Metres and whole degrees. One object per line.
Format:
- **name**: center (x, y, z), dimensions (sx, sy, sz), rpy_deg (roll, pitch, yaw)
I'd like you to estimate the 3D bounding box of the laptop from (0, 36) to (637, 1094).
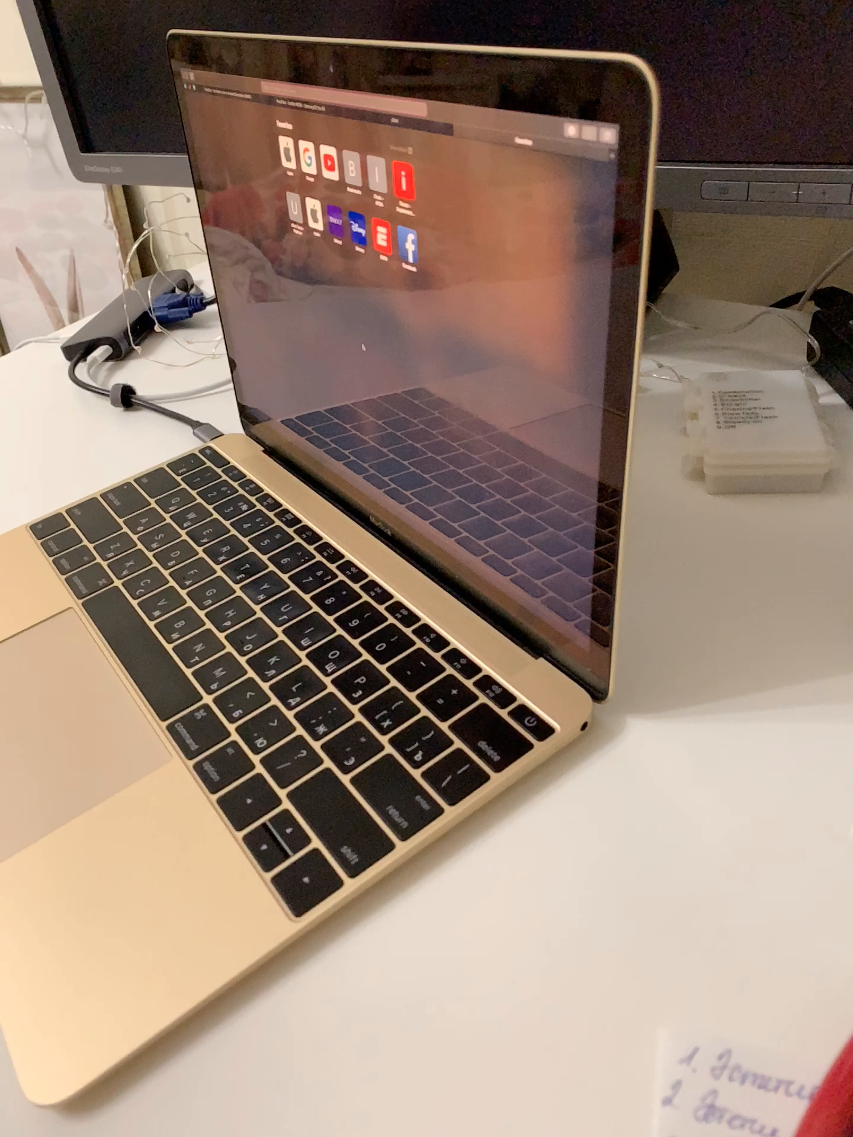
- **laptop**: center (-0.095, -0.047, 0.274), dimensions (0.197, 0.168, 0.248), rpy_deg (-29, 41, -24)
